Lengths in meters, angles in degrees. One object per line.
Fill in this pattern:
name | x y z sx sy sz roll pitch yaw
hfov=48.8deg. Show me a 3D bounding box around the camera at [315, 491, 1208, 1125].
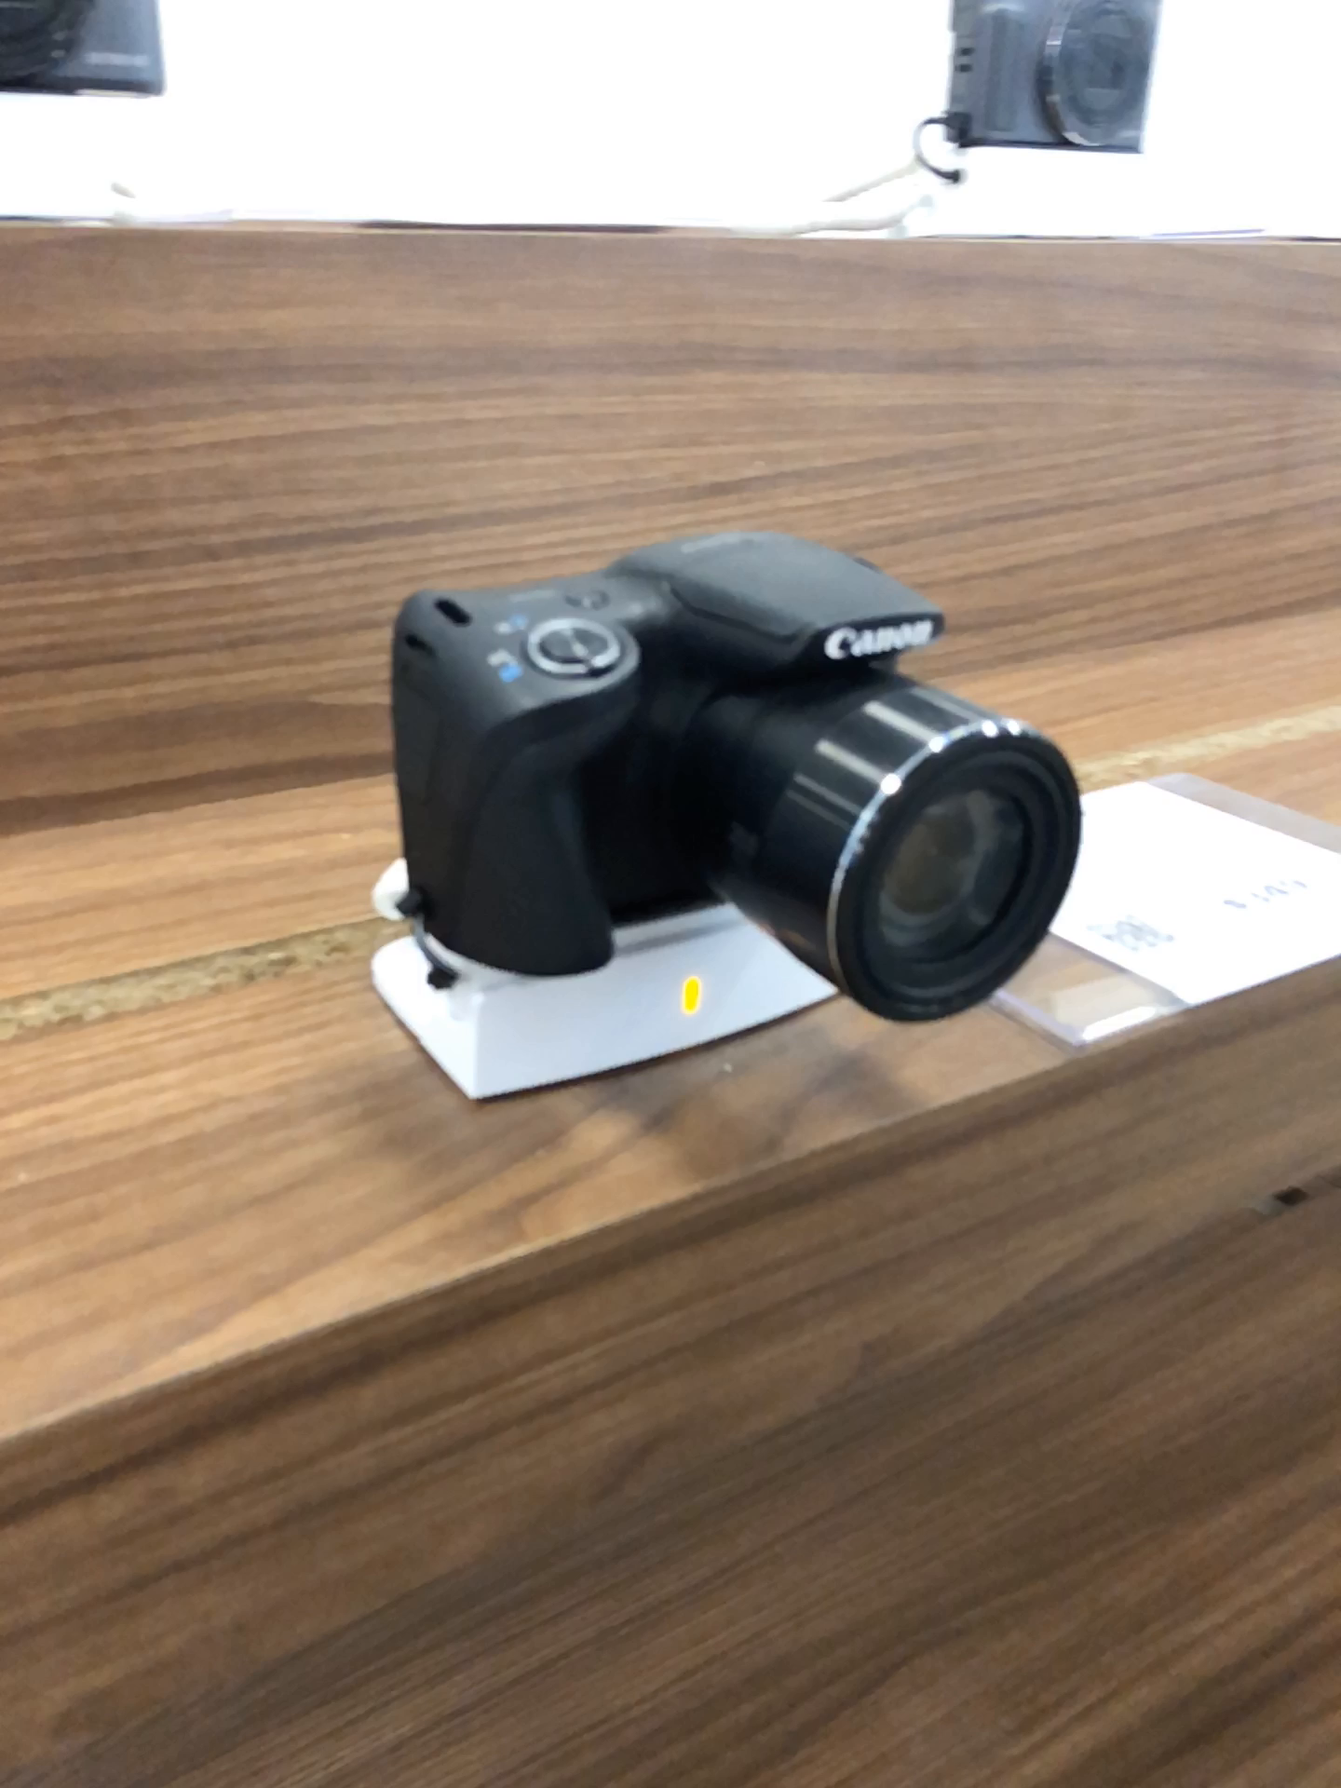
camera | 0.012 -0.028 0.268 0.110 0.070 0.110 -14 26 -31
